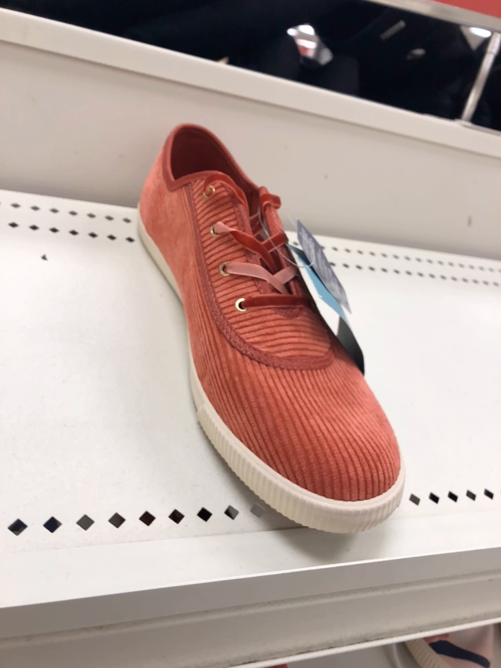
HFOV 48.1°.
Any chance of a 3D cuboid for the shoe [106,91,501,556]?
[{"bbox_3d":[-0.002,-0.044,0.338,0.100,0.089,0.322,1,36,-27],"label":"shoe"}]
